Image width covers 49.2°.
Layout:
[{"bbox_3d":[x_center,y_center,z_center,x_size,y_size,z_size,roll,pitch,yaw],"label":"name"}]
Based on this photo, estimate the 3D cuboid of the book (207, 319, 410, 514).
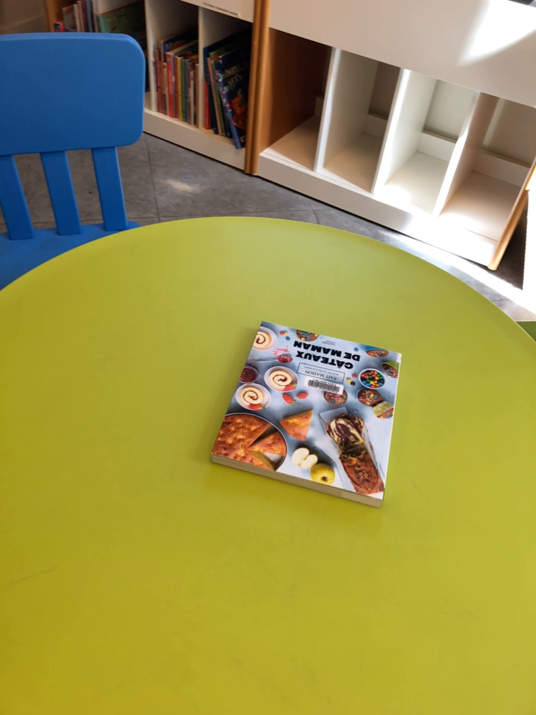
[{"bbox_3d":[0.059,0.057,0.706,0.200,0.021,0.230,14,46,6],"label":"book"}]
